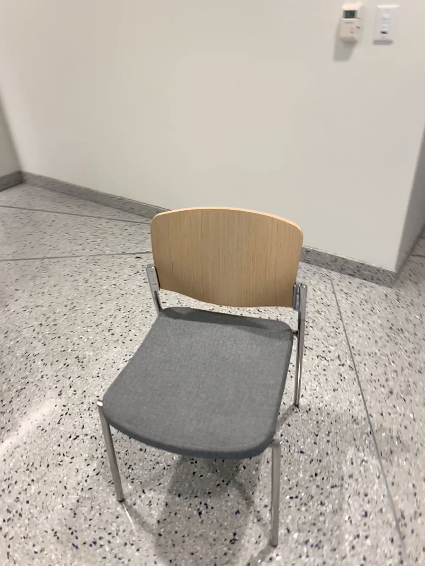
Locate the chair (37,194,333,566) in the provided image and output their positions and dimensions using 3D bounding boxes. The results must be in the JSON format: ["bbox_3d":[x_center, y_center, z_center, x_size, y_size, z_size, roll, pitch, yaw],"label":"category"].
[{"bbox_3d":[0.007,0.241,1.252,0.538,0.768,0.596,8,36,17],"label":"chair"}]
